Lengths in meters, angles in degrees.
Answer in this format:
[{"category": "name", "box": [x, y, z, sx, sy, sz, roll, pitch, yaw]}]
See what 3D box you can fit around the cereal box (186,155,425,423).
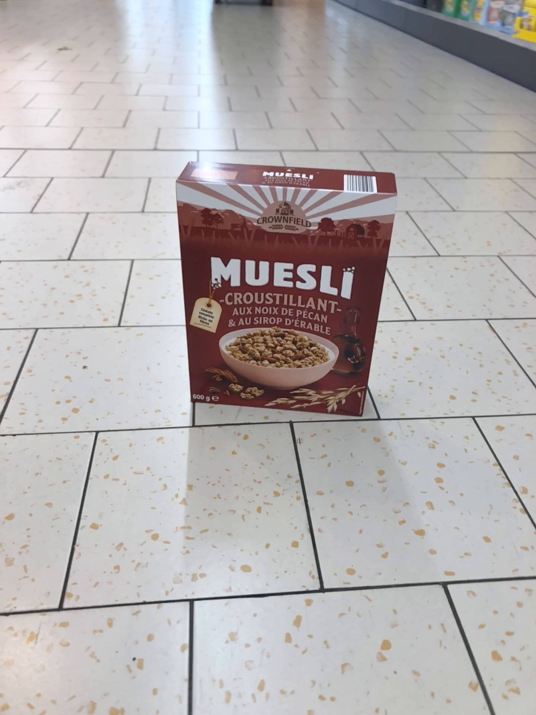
[{"category": "cereal box", "box": [0.031, -0.060, 0.586, 0.200, 0.248, 0.060, 5, 34, 5]}]
